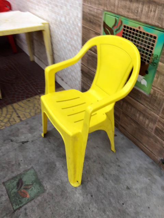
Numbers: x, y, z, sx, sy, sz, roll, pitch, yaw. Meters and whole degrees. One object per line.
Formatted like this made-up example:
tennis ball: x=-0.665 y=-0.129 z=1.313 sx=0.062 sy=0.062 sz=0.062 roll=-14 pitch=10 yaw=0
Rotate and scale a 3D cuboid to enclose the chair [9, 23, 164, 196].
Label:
chair: x=-0.016 y=-0.039 z=1.151 sx=0.541 sy=0.744 sz=0.643 roll=-20 pitch=44 yaw=-23
